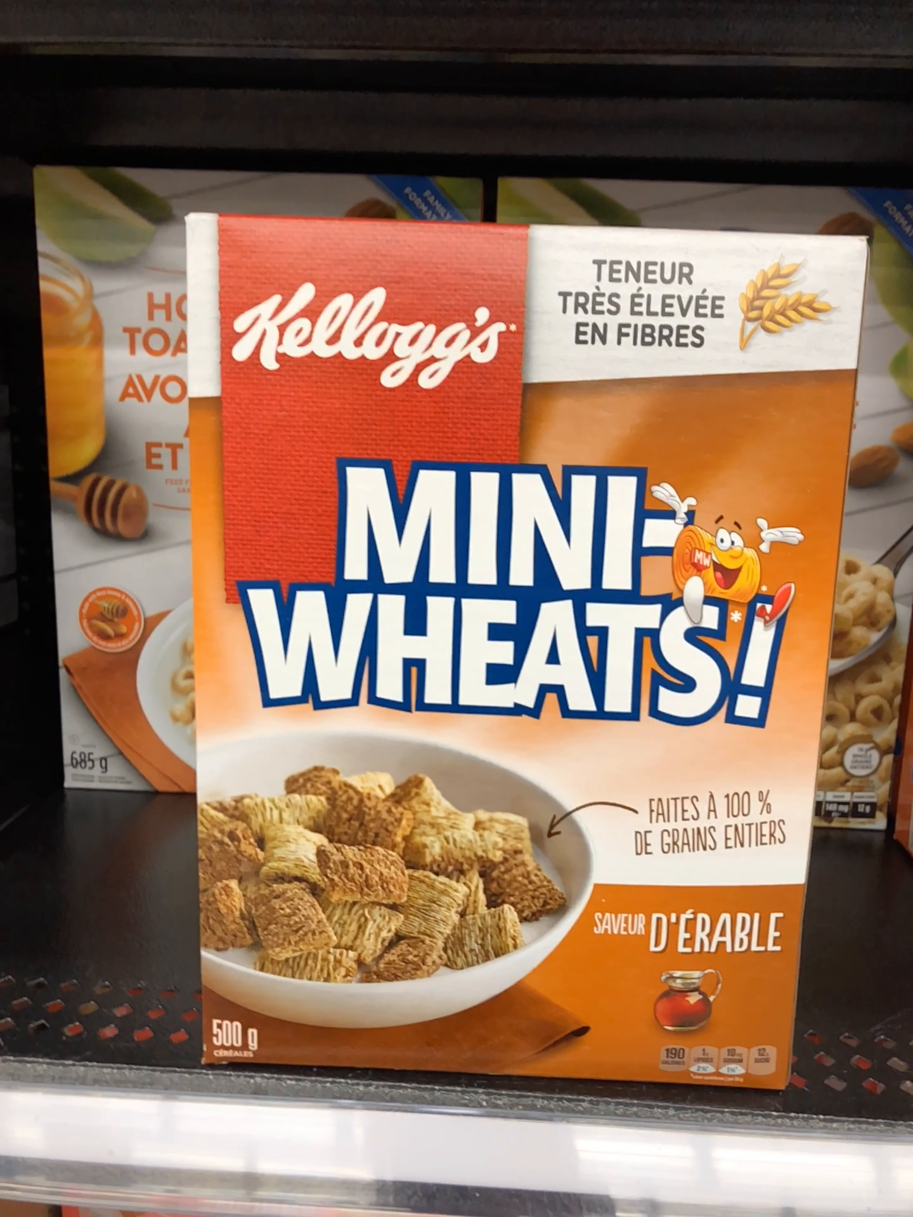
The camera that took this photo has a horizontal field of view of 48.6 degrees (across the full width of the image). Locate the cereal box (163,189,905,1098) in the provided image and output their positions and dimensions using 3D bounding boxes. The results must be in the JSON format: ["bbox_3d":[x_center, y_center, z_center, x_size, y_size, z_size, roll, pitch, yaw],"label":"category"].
[{"bbox_3d":[0.017,0.014,0.329,0.200,0.269,0.060,2,12,3],"label":"cereal box"}]
